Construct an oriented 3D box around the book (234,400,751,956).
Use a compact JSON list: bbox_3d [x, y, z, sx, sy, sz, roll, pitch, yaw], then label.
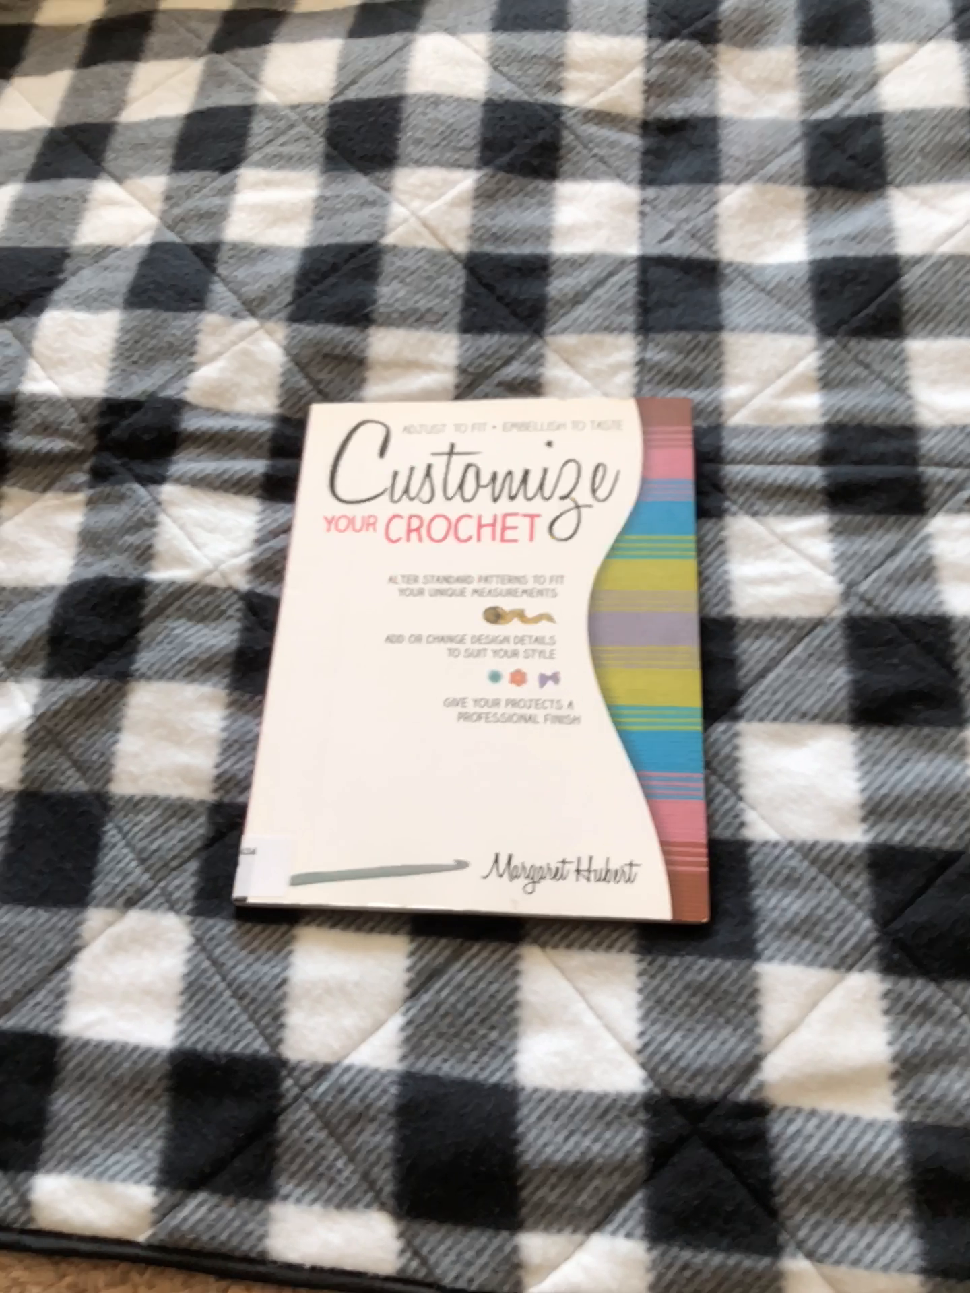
[{"bbox_3d":[0.008,0.001,0.447,0.186,0.020,0.238,1,64,6],"label":"book"}]
